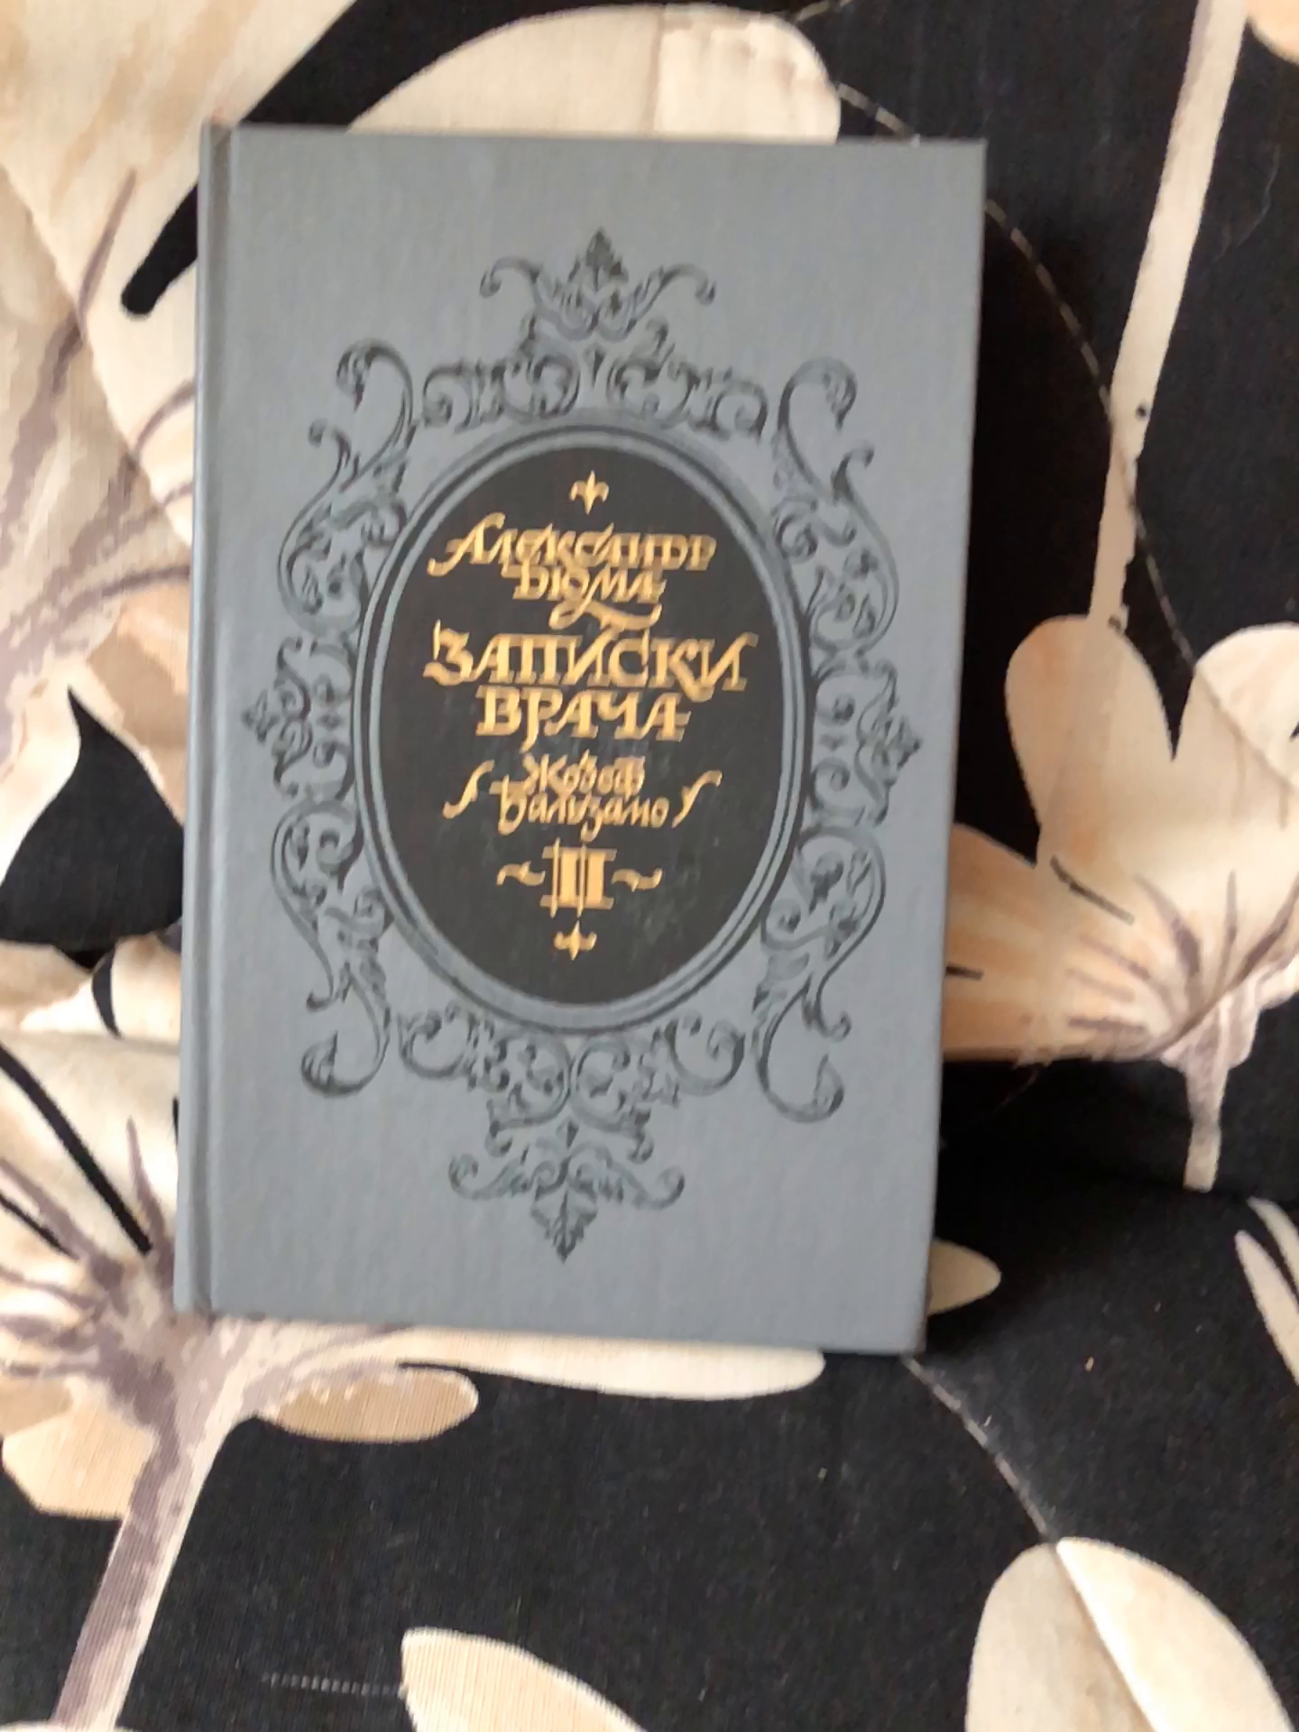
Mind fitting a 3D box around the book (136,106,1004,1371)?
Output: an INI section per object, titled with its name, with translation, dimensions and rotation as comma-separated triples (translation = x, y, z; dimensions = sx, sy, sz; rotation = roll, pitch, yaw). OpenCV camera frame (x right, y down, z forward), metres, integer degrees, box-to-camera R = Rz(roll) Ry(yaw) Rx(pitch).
[book]
translation = -0.015, -0.021, 0.264
dimensions = 0.140, 0.030, 0.210
rotation = 3, 93, 1
